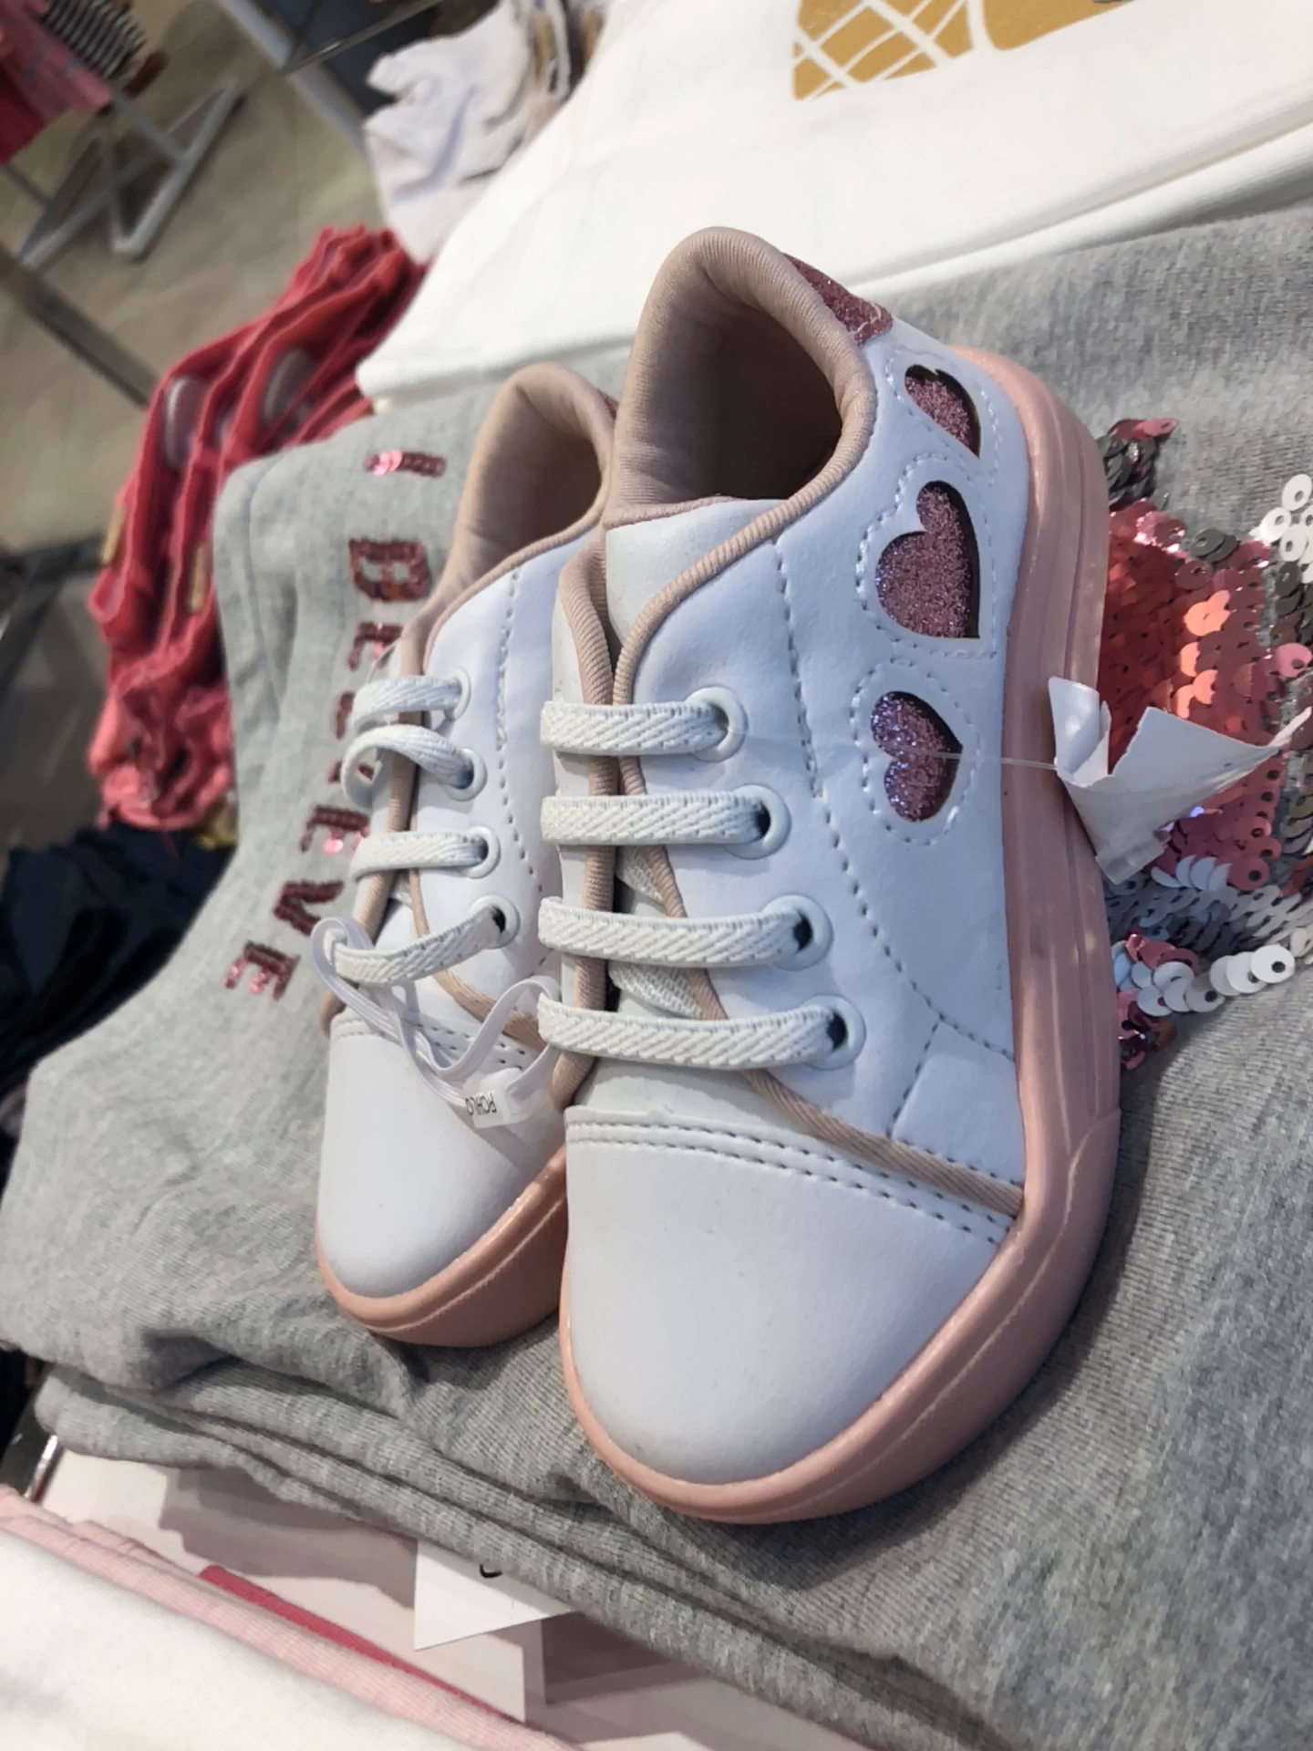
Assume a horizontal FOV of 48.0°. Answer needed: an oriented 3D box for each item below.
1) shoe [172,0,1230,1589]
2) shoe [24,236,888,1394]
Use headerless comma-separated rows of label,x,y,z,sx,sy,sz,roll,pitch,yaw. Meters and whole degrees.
shoe,0.015,-0.007,0.173,0.070,0.070,0.150,-2,67,38
shoe,-0.026,-0.007,0.233,0.070,0.070,0.150,4,75,40
